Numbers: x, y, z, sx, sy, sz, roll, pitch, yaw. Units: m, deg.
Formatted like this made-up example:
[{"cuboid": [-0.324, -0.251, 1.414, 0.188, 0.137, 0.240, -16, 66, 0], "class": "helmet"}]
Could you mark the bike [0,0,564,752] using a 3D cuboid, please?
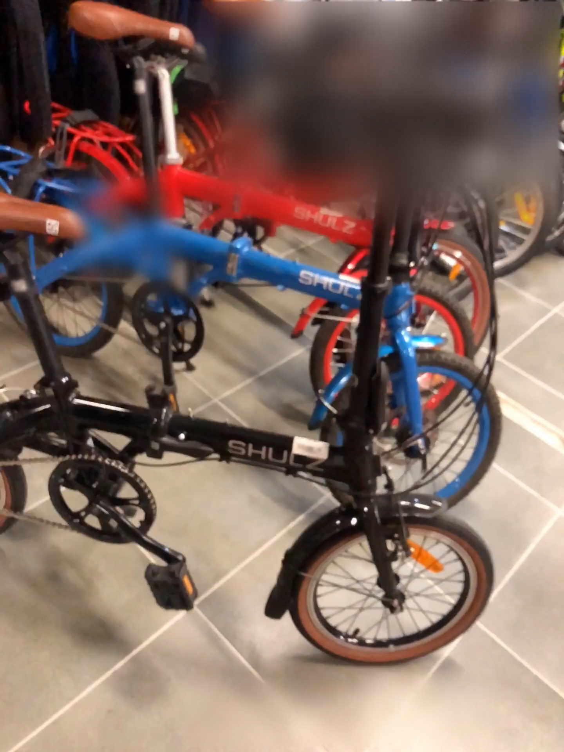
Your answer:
[{"cuboid": [-0.197, -0.030, 1.010, 1.273, 1.058, 0.567, 12, 41, 4], "class": "bike"}]

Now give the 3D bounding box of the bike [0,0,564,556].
[{"cuboid": [-0.059, -0.370, 1.472, 1.373, 1.030, 0.570, 21, 43, 10], "class": "bike"}]
